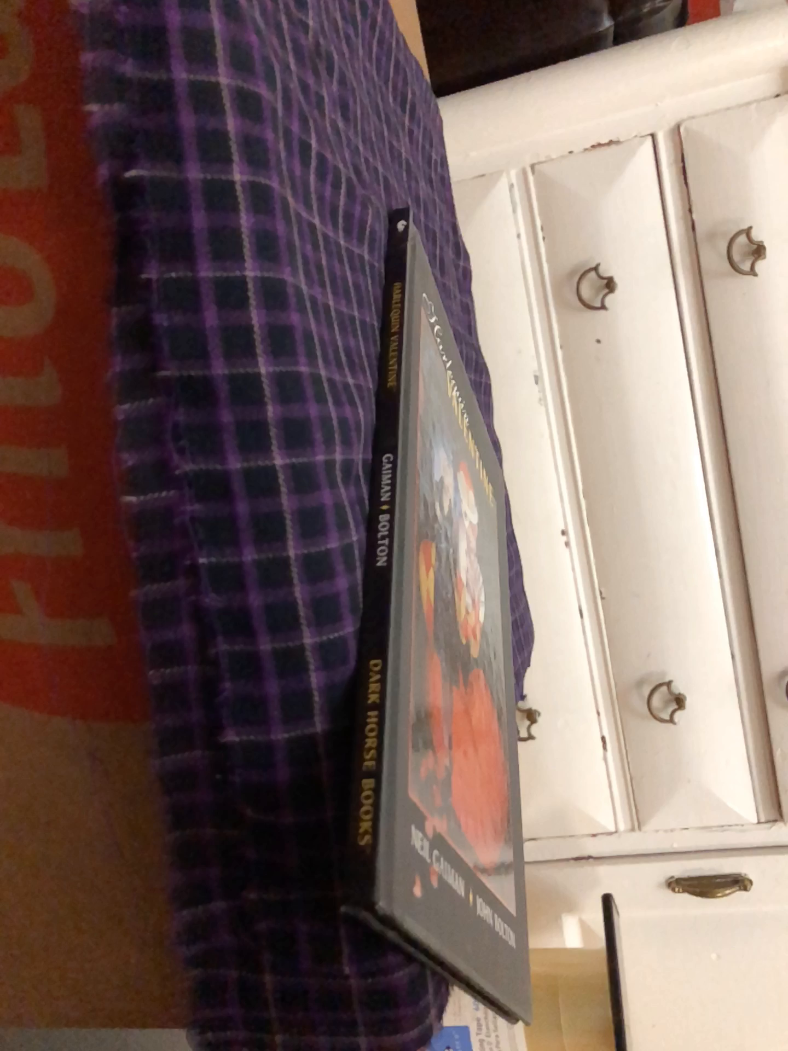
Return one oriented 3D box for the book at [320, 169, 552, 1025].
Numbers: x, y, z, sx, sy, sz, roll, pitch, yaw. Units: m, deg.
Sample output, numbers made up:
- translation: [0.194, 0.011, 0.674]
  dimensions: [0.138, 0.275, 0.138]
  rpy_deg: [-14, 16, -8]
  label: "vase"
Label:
- translation: [0.025, 0.022, 0.339]
  dimensions: [0.180, 0.020, 0.281]
  rpy_deg: [61, 24, -50]
  label: "book"
